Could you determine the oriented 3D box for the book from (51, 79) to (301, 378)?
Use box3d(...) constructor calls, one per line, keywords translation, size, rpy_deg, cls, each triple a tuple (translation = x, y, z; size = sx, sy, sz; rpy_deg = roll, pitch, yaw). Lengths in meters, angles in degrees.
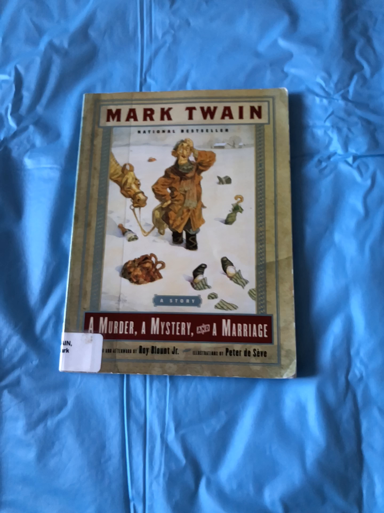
box3d(translation=(-0.009, -0.025, 0.306), size=(0.160, 0.020, 0.210), rpy_deg=(0, 77, 4), cls="book")
